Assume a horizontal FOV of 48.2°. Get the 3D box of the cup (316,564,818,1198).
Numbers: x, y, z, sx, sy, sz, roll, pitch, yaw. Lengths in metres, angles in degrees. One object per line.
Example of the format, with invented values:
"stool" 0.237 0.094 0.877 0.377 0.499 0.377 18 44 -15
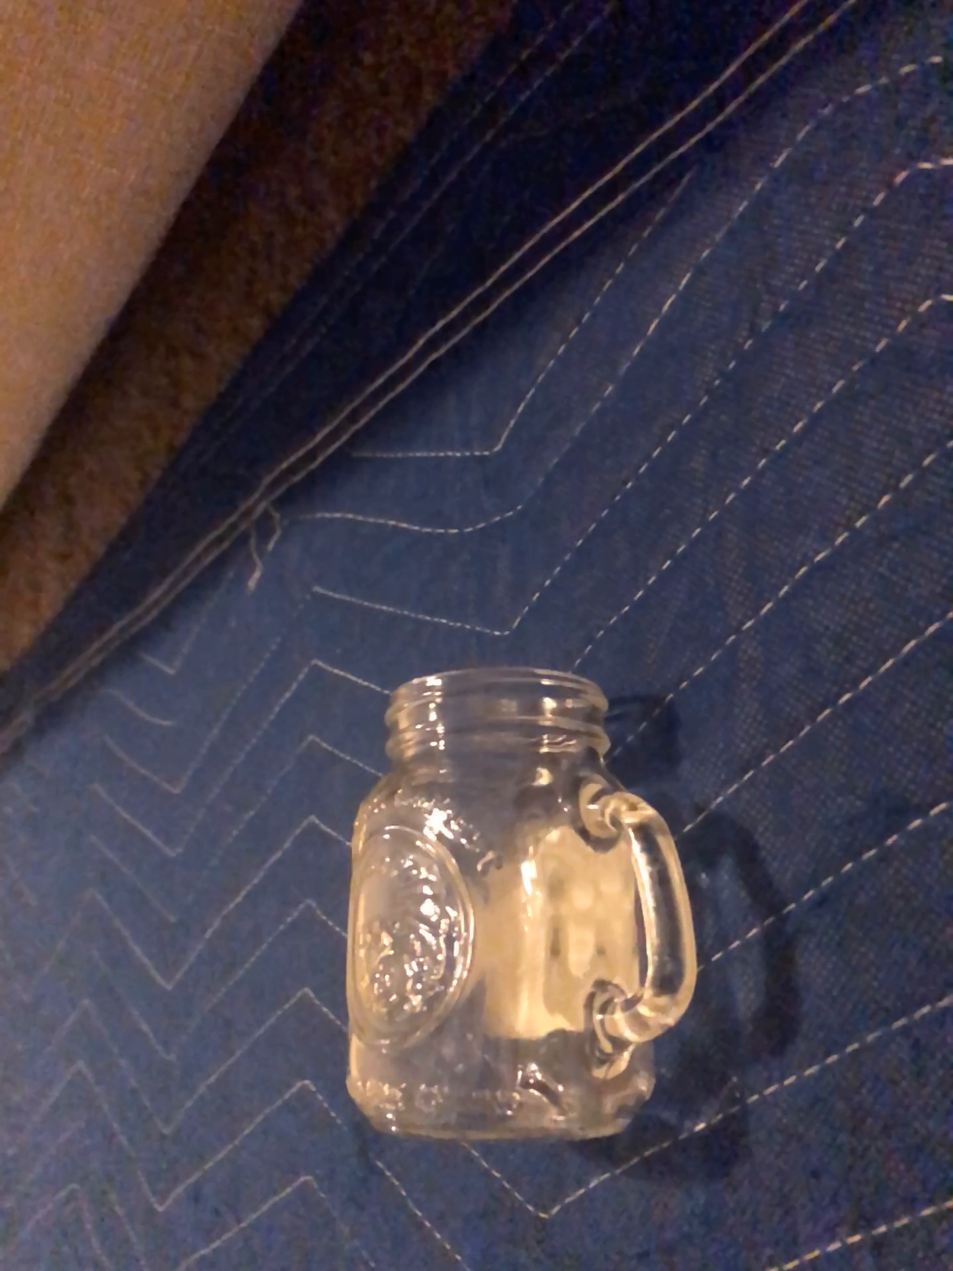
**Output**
"cup" 0.009 0.048 0.210 0.089 0.043 0.095 -12 76 56
